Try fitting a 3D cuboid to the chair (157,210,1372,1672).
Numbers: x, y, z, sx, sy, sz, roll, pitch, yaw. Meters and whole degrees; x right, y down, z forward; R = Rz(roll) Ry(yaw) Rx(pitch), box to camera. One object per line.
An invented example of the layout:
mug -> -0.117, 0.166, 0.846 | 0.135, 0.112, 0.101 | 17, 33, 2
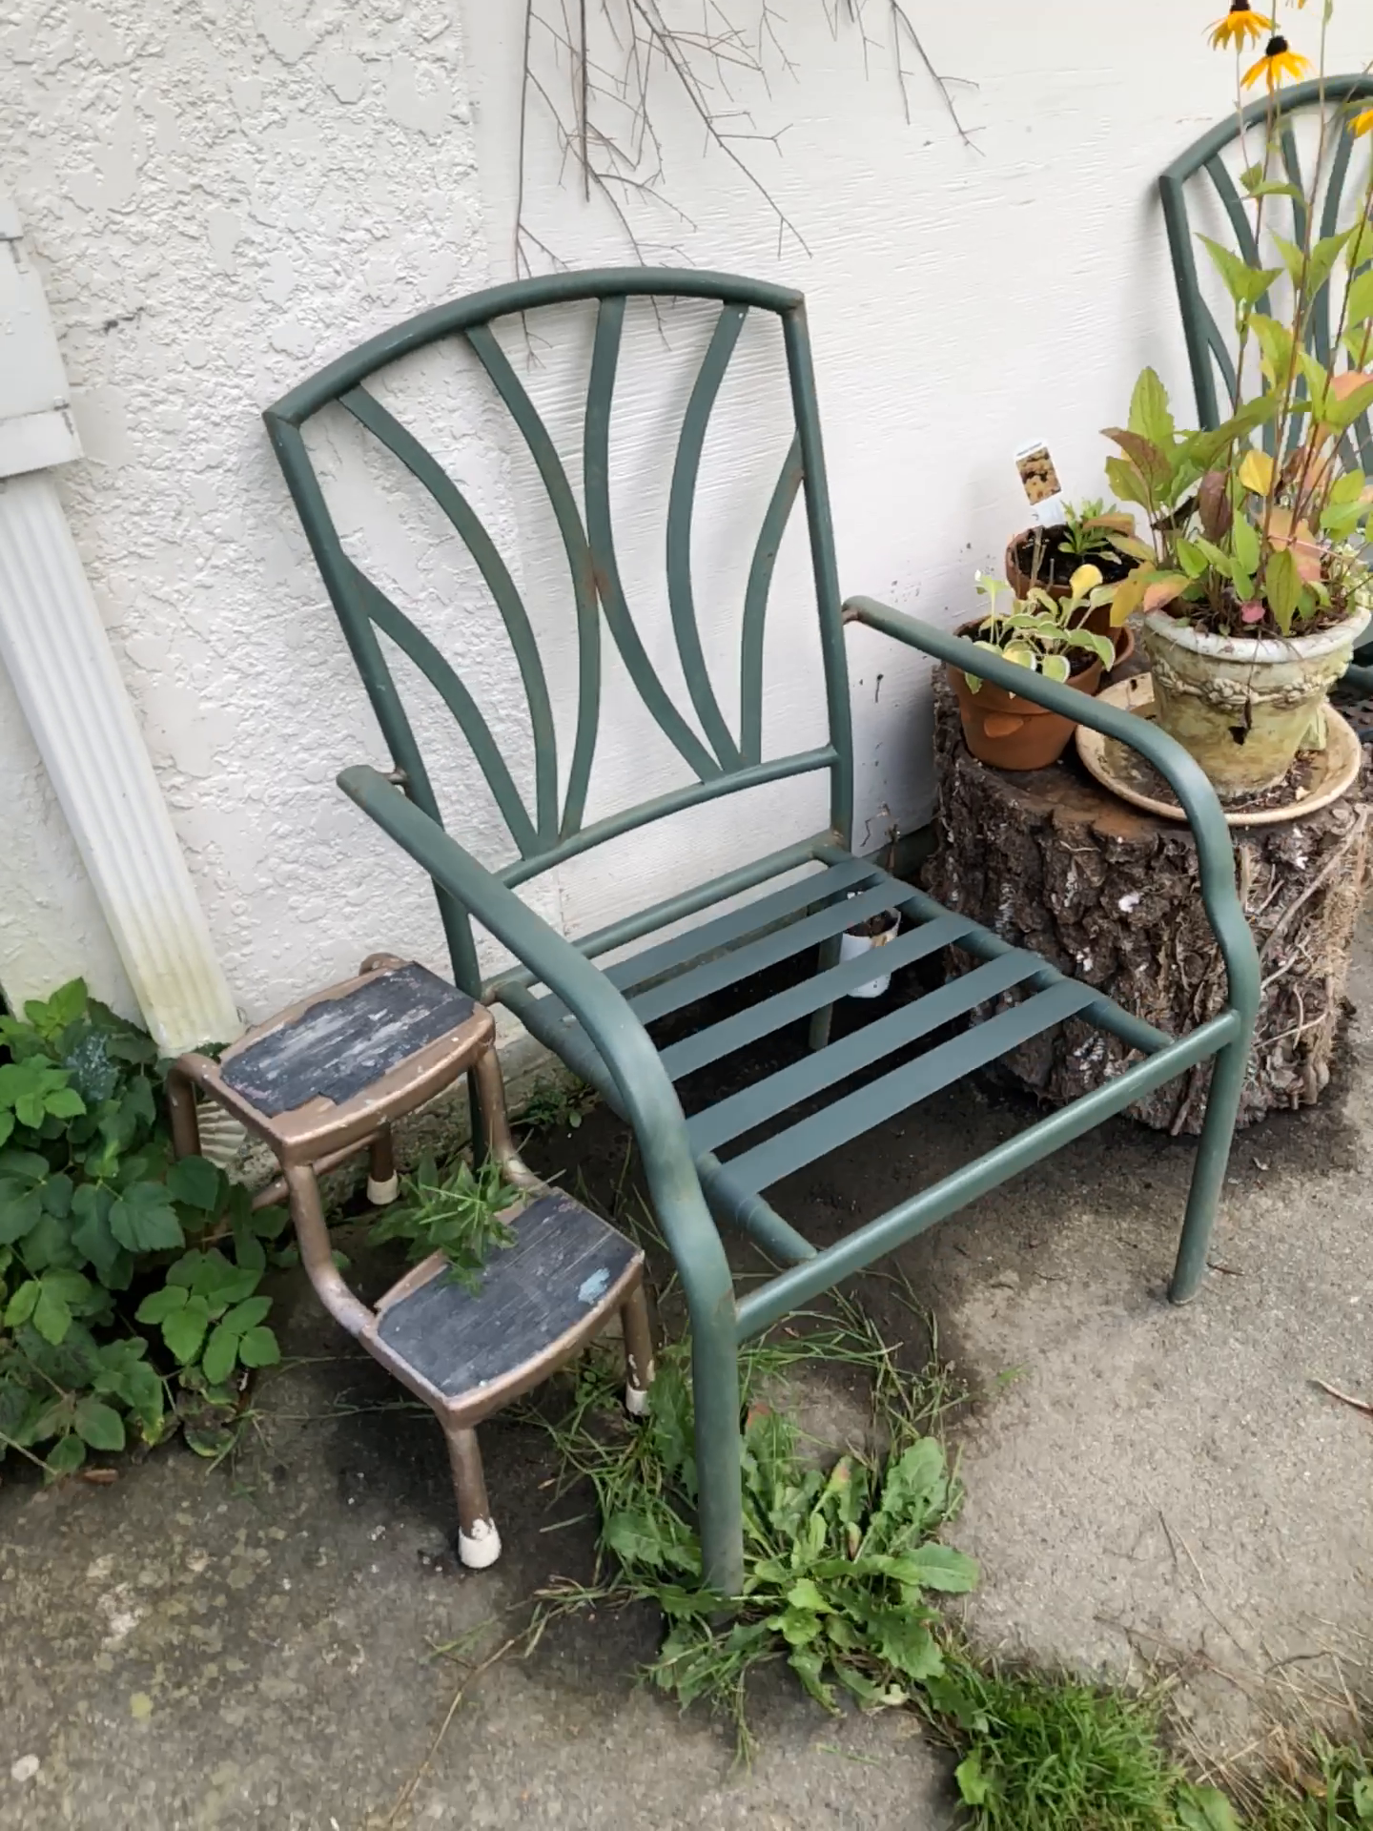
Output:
chair -> 0.067, -0.024, 1.313 | 0.621, 0.904, 0.683 | -25, 42, -26
